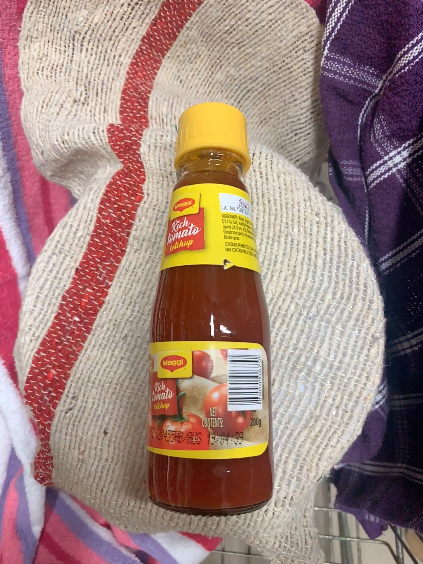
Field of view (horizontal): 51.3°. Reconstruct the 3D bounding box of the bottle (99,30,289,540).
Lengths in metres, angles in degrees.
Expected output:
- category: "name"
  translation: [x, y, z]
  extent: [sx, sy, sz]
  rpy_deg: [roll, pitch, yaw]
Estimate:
- category: "bottle"
  translation: [-0.006, -0.002, 0.179]
  extent: [0.050, 0.050, 0.170]
  rpy_deg: [-8, 76, 36]
